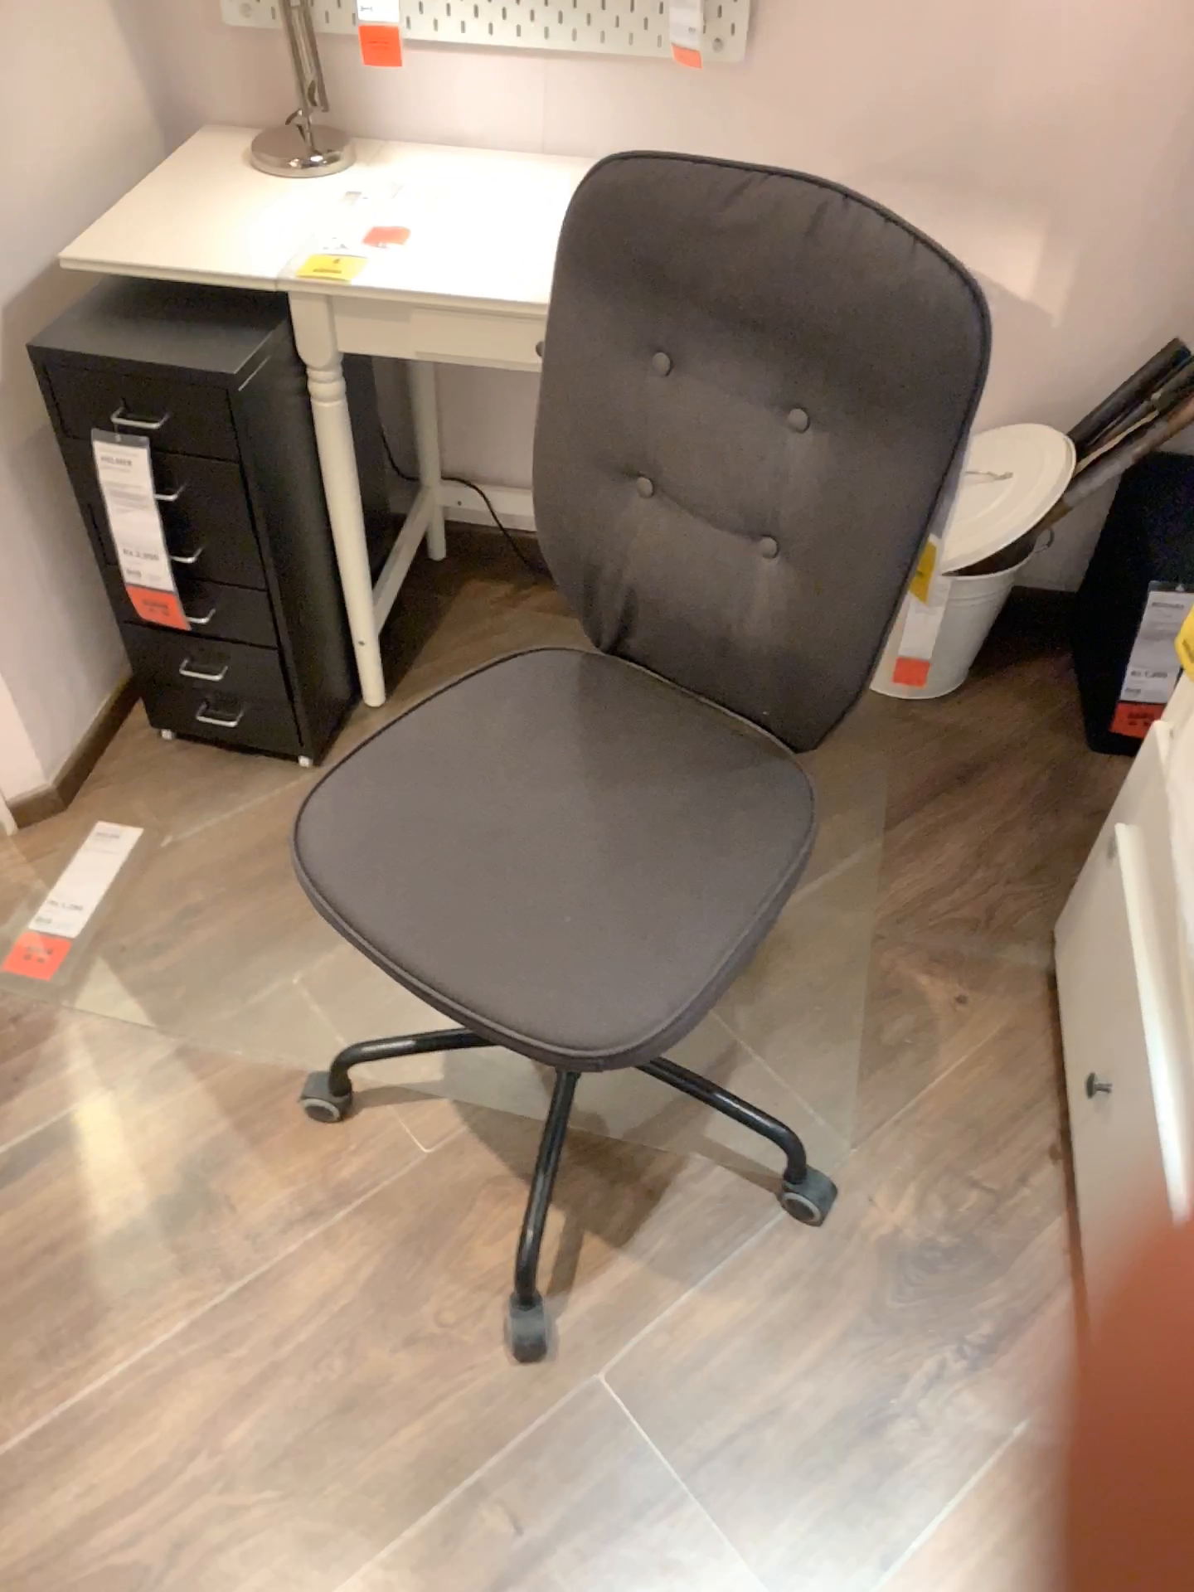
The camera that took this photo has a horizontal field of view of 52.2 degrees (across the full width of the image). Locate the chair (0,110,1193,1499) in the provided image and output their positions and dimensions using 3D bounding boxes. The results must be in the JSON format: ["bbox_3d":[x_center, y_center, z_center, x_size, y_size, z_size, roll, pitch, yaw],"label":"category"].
[{"bbox_3d":[0.028,0.015,1.189,0.651,0.947,0.732,26,51,21],"label":"chair"}]
